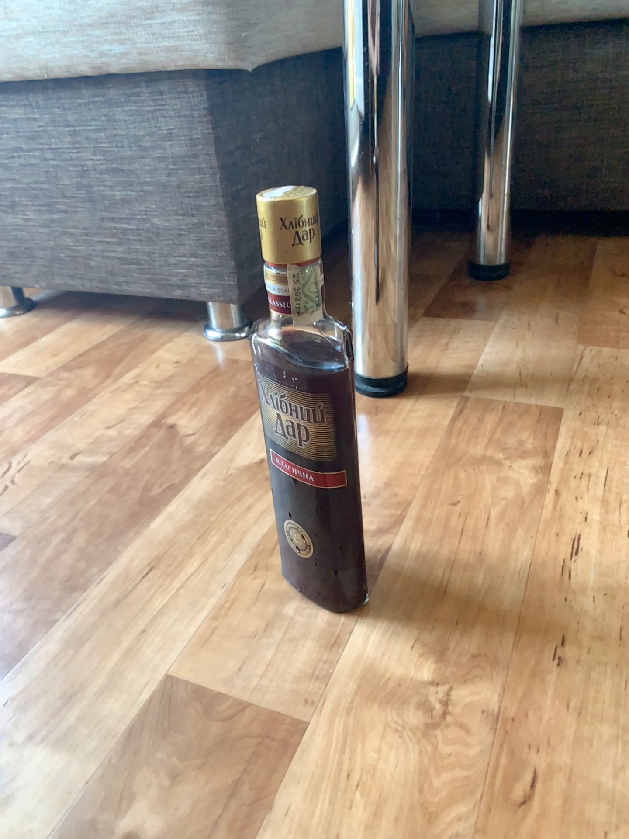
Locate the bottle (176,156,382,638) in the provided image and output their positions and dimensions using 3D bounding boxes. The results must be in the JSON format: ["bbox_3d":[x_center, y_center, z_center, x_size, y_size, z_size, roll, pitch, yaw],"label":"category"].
[{"bbox_3d":[-0.014,-0.006,0.348,0.050,0.239,0.090,-19,33,-22],"label":"bottle"}]
